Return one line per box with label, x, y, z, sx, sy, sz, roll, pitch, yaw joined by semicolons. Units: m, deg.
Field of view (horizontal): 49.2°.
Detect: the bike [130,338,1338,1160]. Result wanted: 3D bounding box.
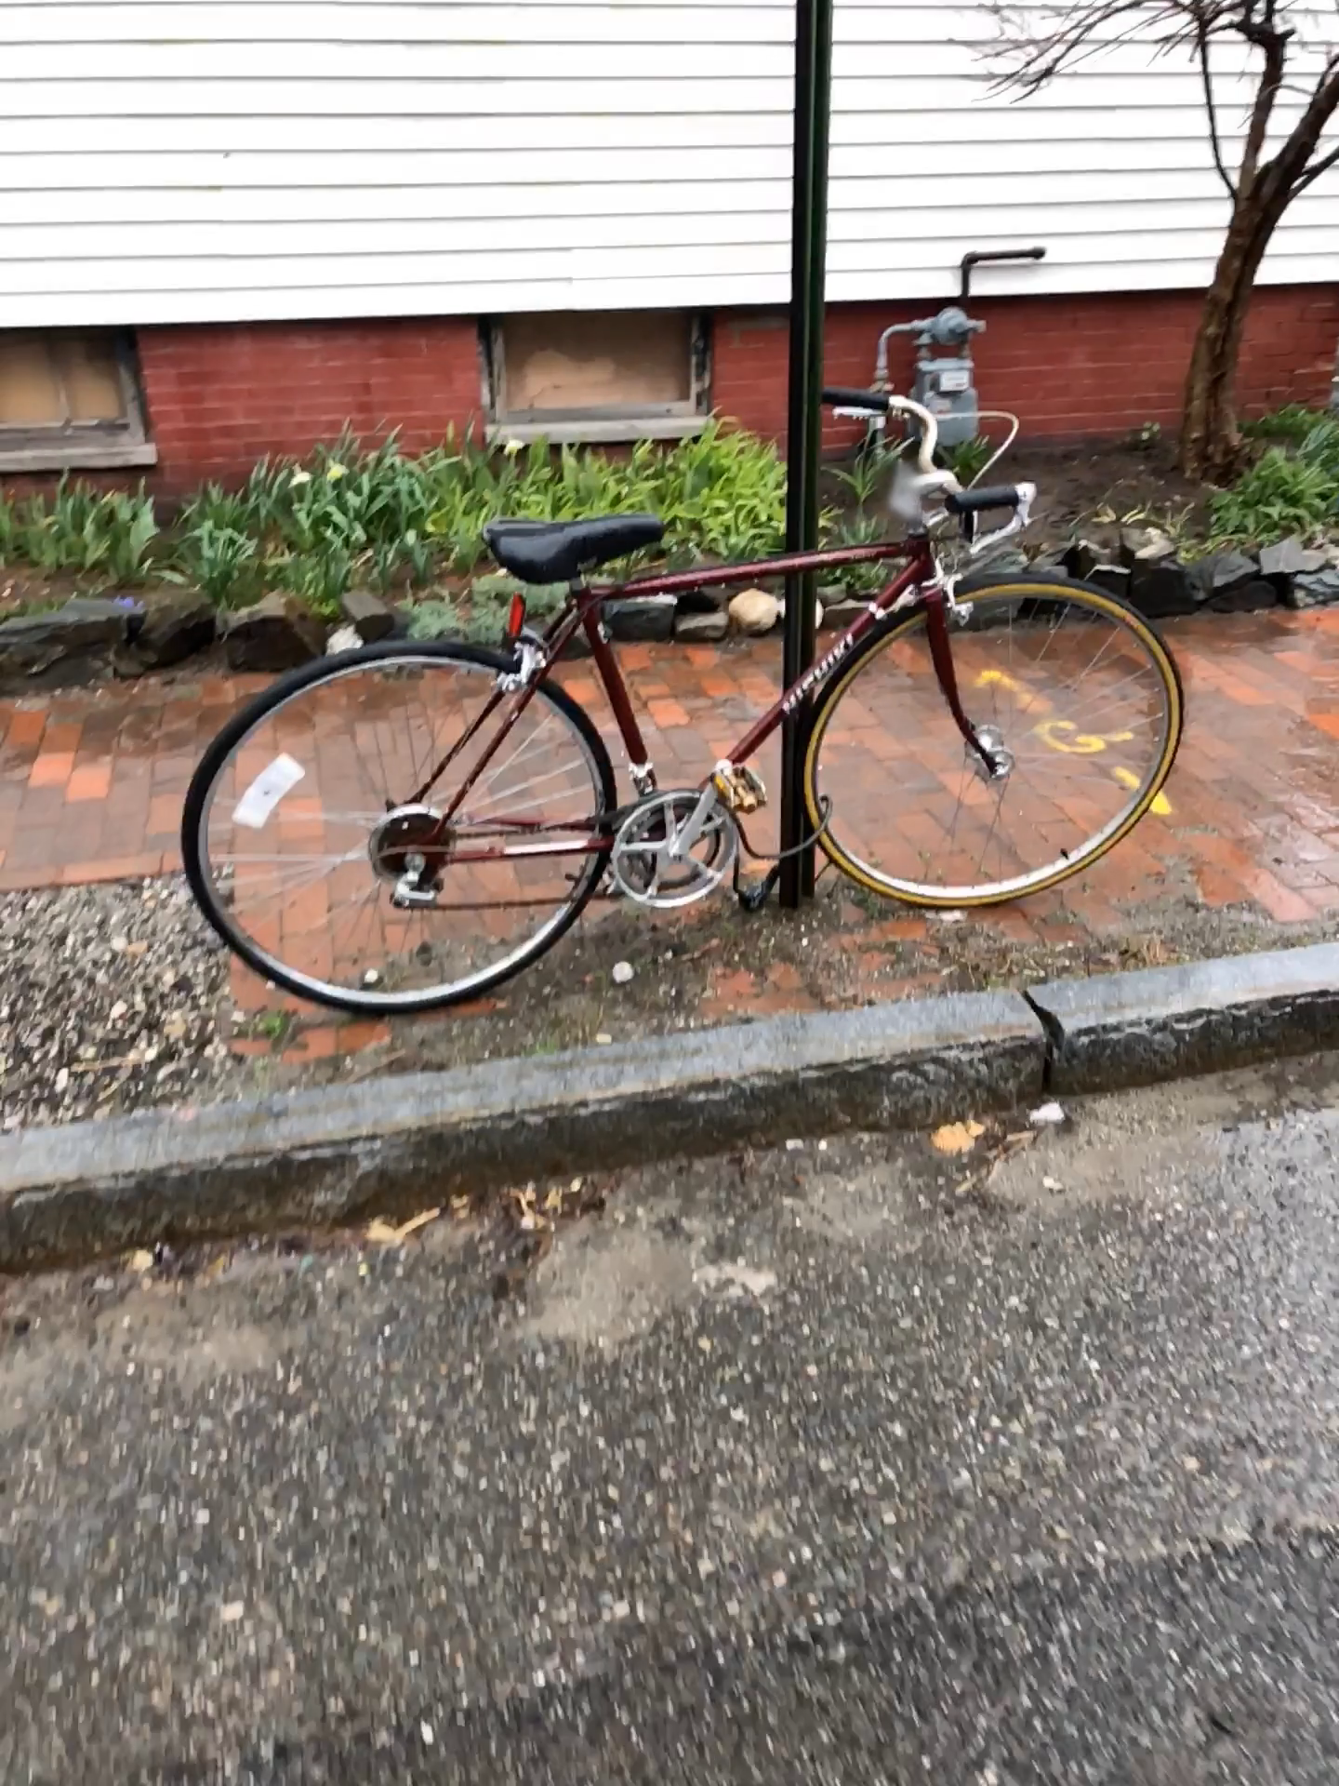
bike;0.103;-0.266;2.232;1.606;0.907;0.501;-9;28;-12
